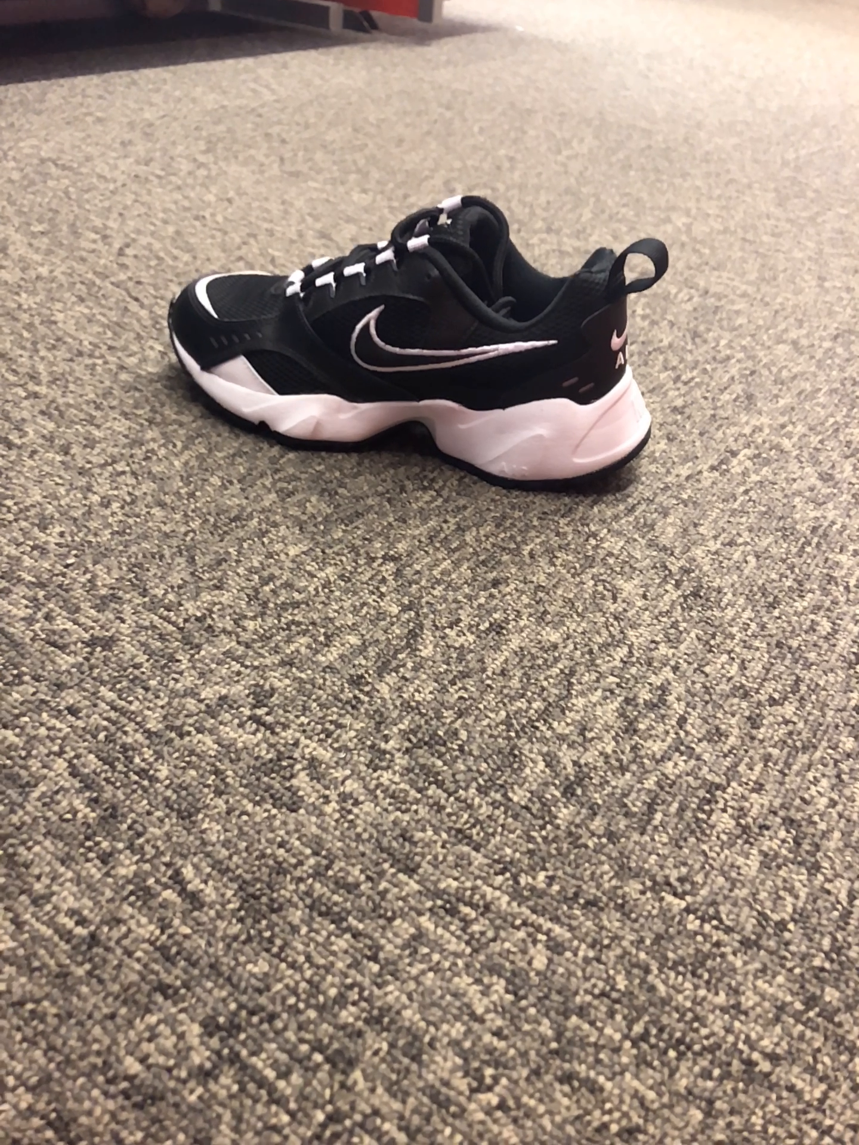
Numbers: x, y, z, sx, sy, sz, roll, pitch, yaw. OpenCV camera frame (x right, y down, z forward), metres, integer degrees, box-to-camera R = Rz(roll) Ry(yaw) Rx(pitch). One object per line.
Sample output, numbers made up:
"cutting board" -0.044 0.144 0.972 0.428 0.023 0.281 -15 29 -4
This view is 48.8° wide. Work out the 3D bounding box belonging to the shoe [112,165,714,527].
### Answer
"shoe" -0.006 -0.121 0.473 0.260 0.109 0.105 12 37 15
